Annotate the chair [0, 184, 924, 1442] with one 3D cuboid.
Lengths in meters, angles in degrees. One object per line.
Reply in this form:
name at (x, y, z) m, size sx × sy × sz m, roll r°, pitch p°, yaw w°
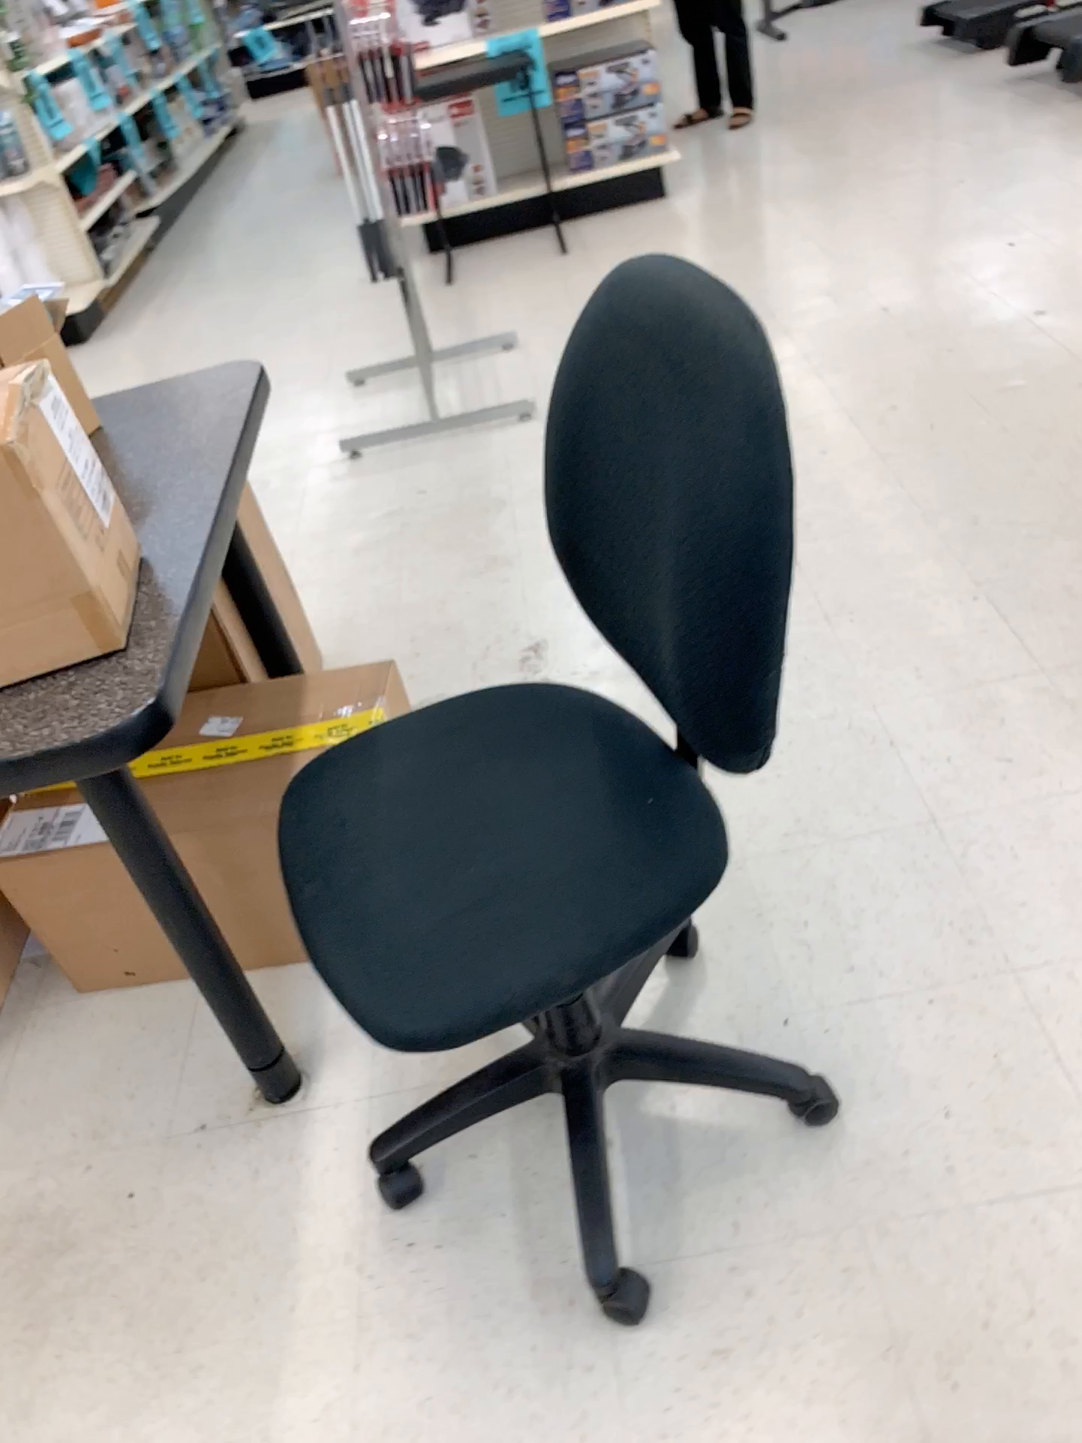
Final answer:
chair at (-0.061, 0.099, 1.127) m, size 0.600 × 0.965 × 0.603 m, roll -24°, pitch 38°, yaw -11°
